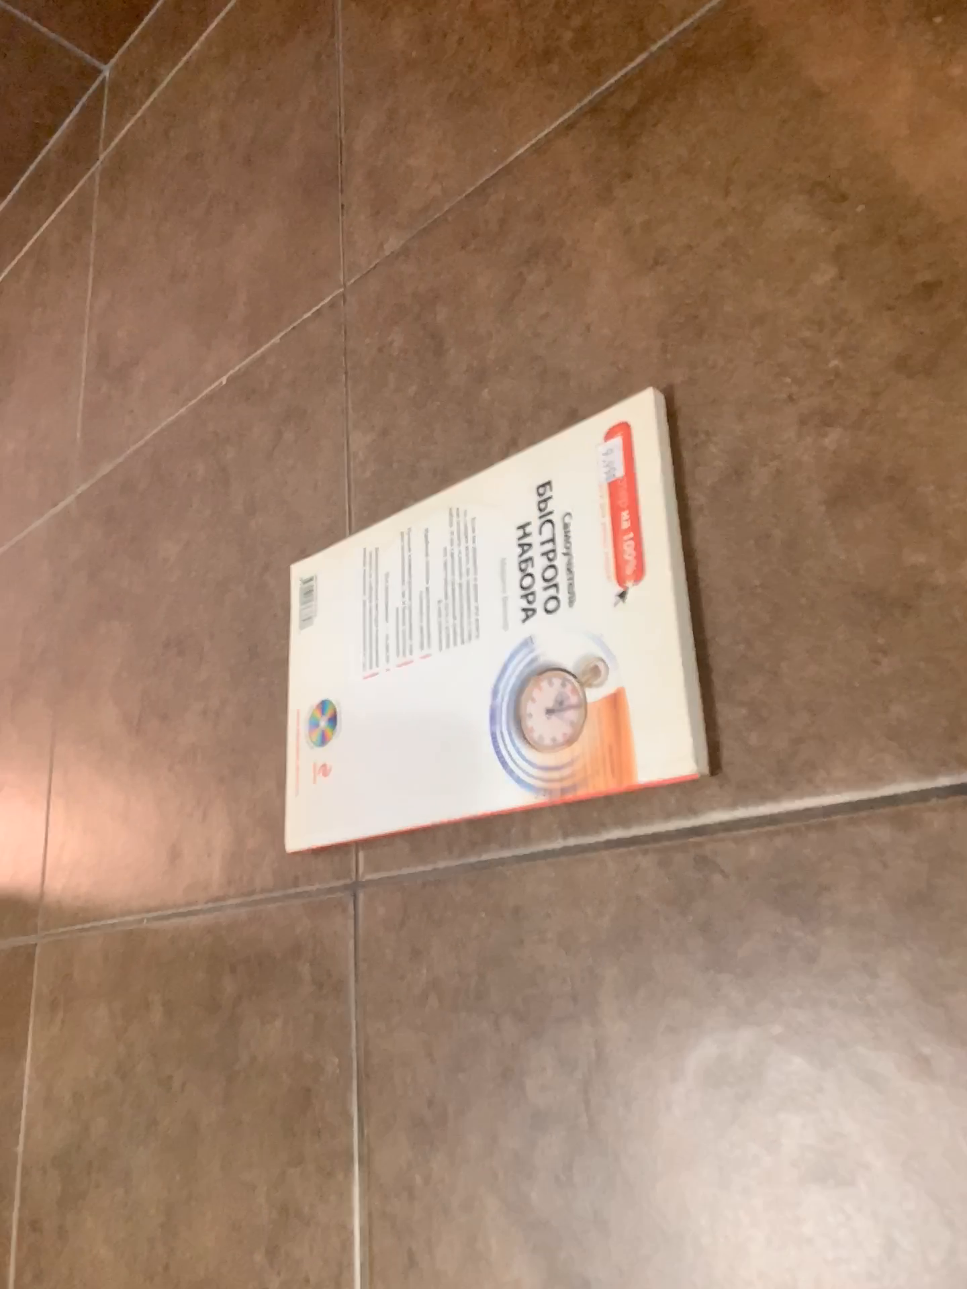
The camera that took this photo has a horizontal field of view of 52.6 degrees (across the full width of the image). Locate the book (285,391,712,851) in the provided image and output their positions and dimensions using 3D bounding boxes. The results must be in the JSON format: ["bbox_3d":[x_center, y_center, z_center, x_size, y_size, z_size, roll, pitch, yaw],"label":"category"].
[{"bbox_3d":[-0.012,0.003,0.389,0.211,0.009,0.134,-19,66,40],"label":"book"}]
